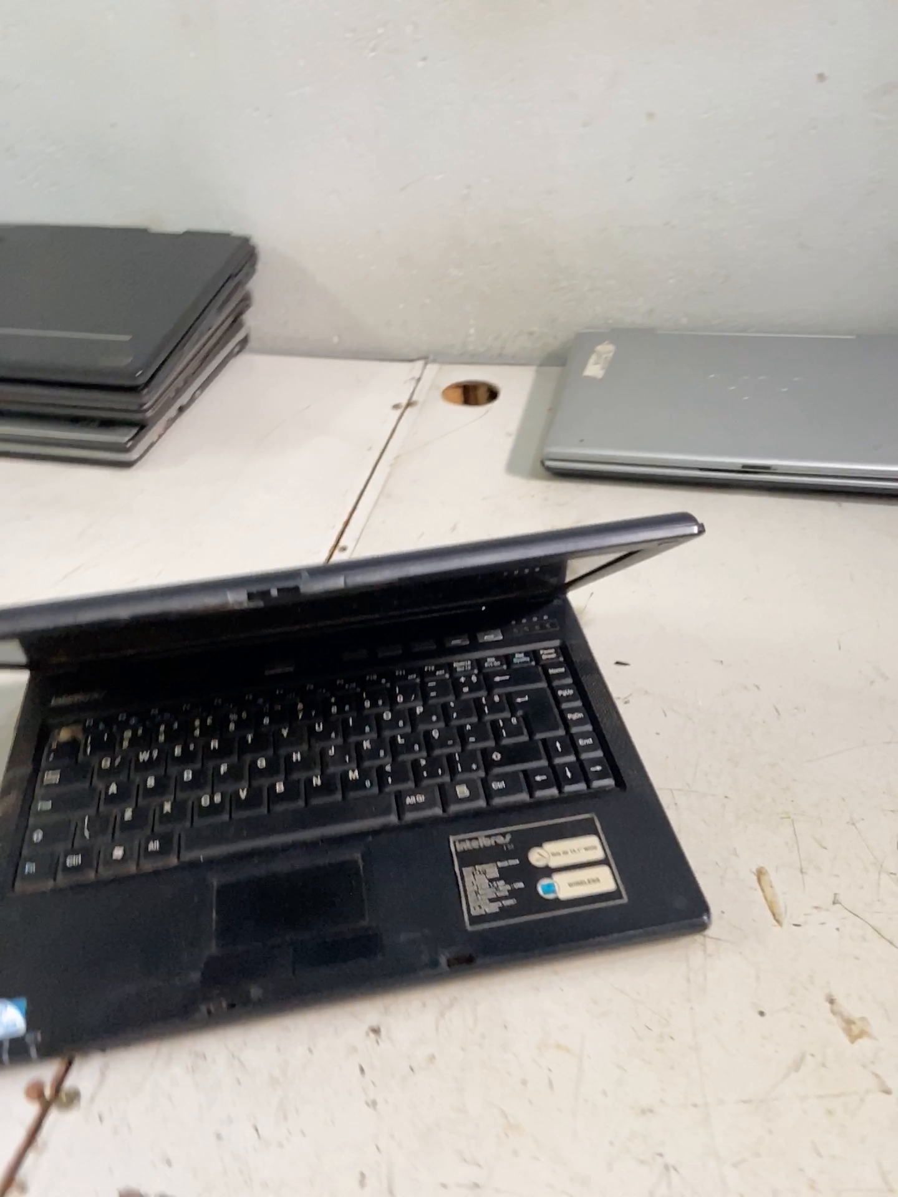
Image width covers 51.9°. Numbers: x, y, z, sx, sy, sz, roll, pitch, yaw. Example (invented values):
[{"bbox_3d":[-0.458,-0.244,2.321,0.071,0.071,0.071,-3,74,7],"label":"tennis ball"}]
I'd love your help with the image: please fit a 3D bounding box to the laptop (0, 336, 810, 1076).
[{"bbox_3d":[-0.059,0.024,0.422,0.324,0.168,0.237,-8,39,-8],"label":"laptop"}]
